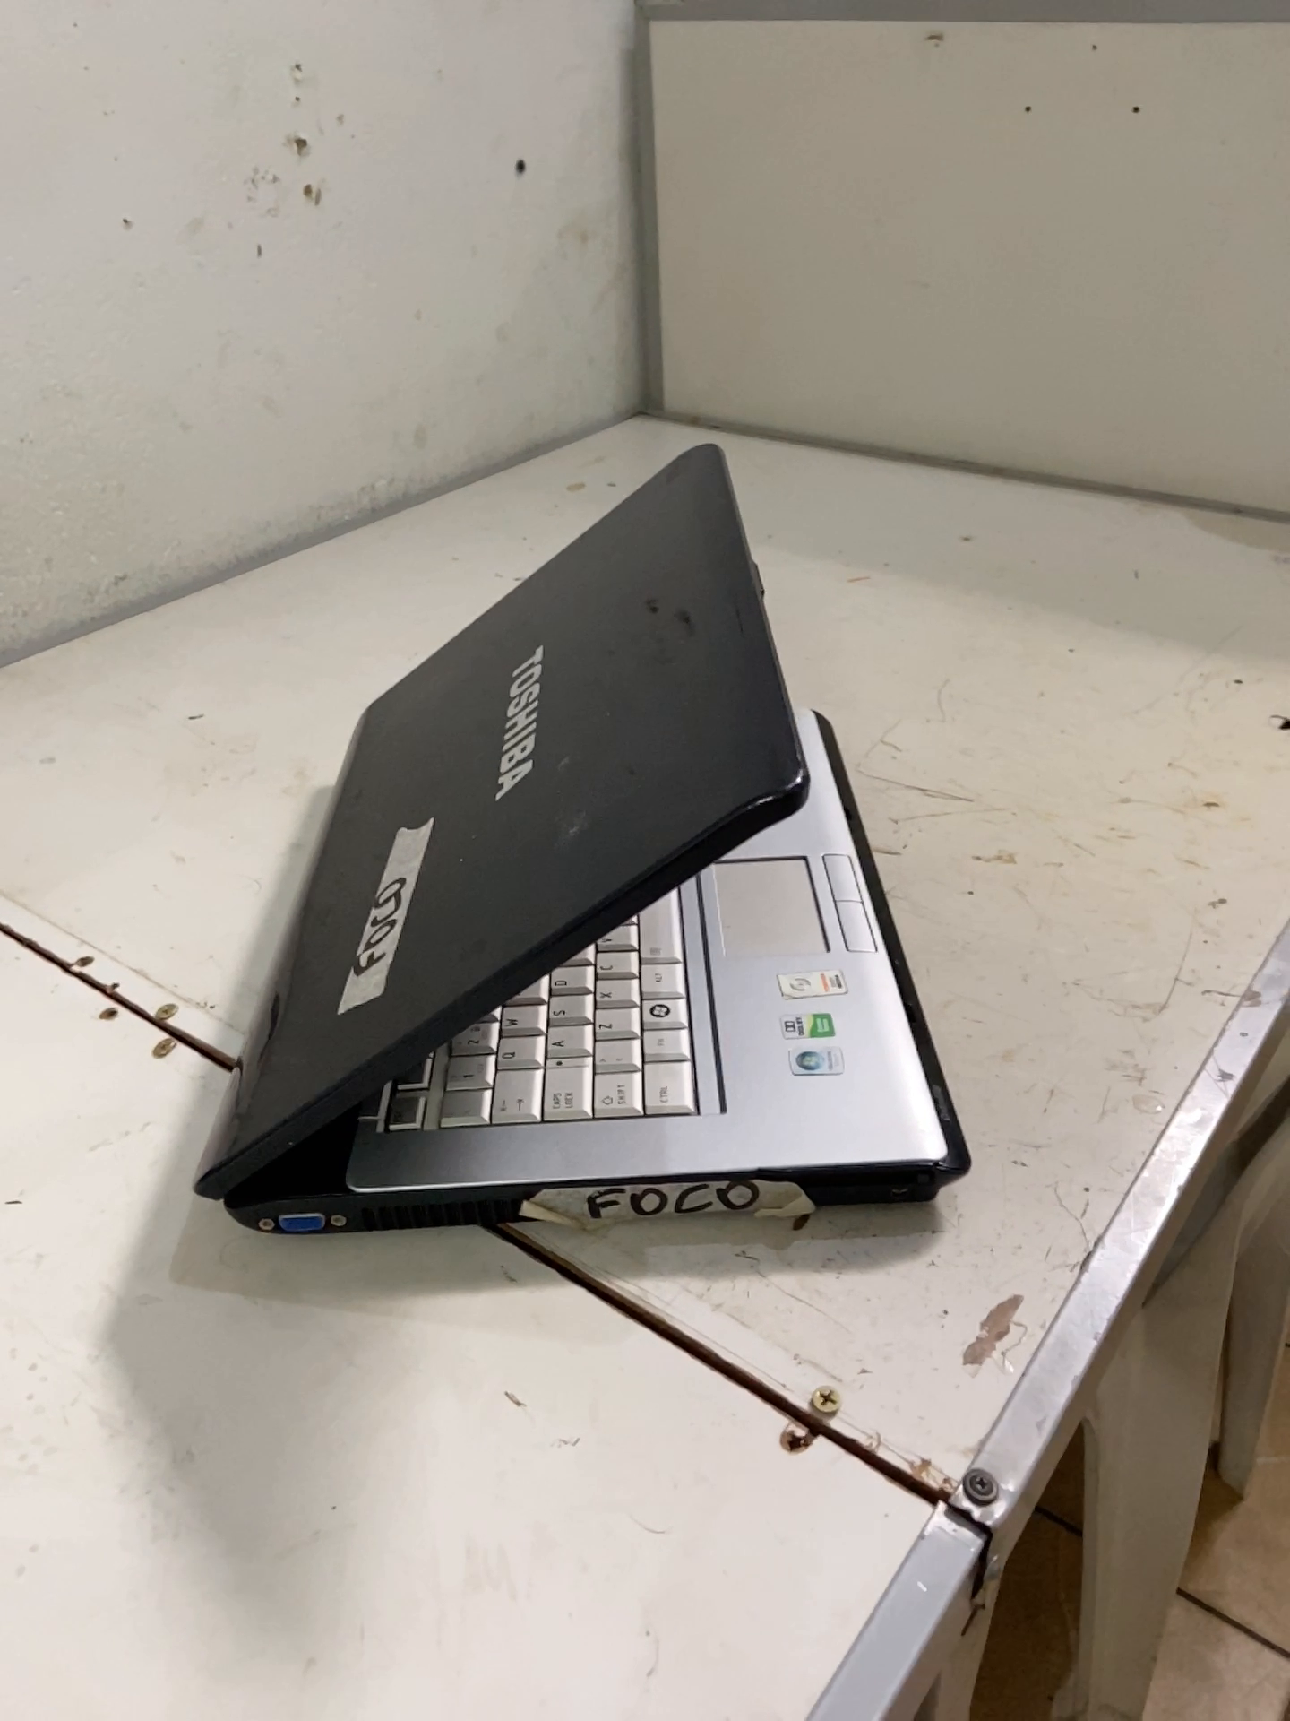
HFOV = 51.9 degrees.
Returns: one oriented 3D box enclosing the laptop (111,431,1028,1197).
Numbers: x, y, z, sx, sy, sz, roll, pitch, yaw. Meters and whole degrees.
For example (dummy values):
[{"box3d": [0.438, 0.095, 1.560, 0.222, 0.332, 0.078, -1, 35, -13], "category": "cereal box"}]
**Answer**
[{"box3d": [-0.024, -0.050, 0.558, 0.257, 0.152, 0.348, -3, 33, 0], "category": "laptop"}]
